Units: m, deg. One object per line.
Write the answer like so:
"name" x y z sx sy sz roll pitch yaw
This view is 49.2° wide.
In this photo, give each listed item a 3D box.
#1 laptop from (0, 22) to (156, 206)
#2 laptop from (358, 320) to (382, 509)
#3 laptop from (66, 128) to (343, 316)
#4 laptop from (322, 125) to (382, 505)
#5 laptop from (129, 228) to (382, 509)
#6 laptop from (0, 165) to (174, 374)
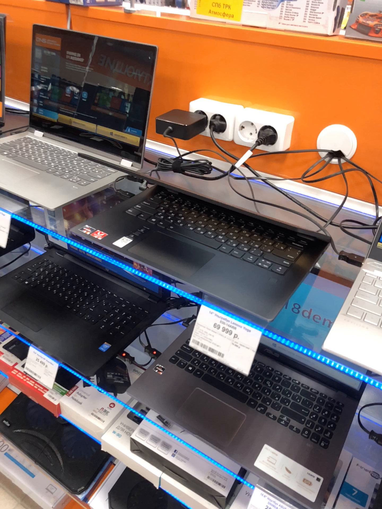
"laptop" -0.282 -0.285 0.787 0.311 0.219 0.268 23 38 25
"laptop" 0.456 0.302 0.519 0.345 0.229 0.254 24 38 28
"laptop" 0.017 -0.074 0.611 0.324 0.102 0.214 23 39 26
"laptop" 0.356 0.006 0.454 0.283 0.162 0.318 22 40 29
"laptop" 0.115 0.160 0.718 0.354 0.236 0.257 22 37 27
"laptop" -0.267 0.005 0.900 0.374 0.223 0.266 23 38 24
